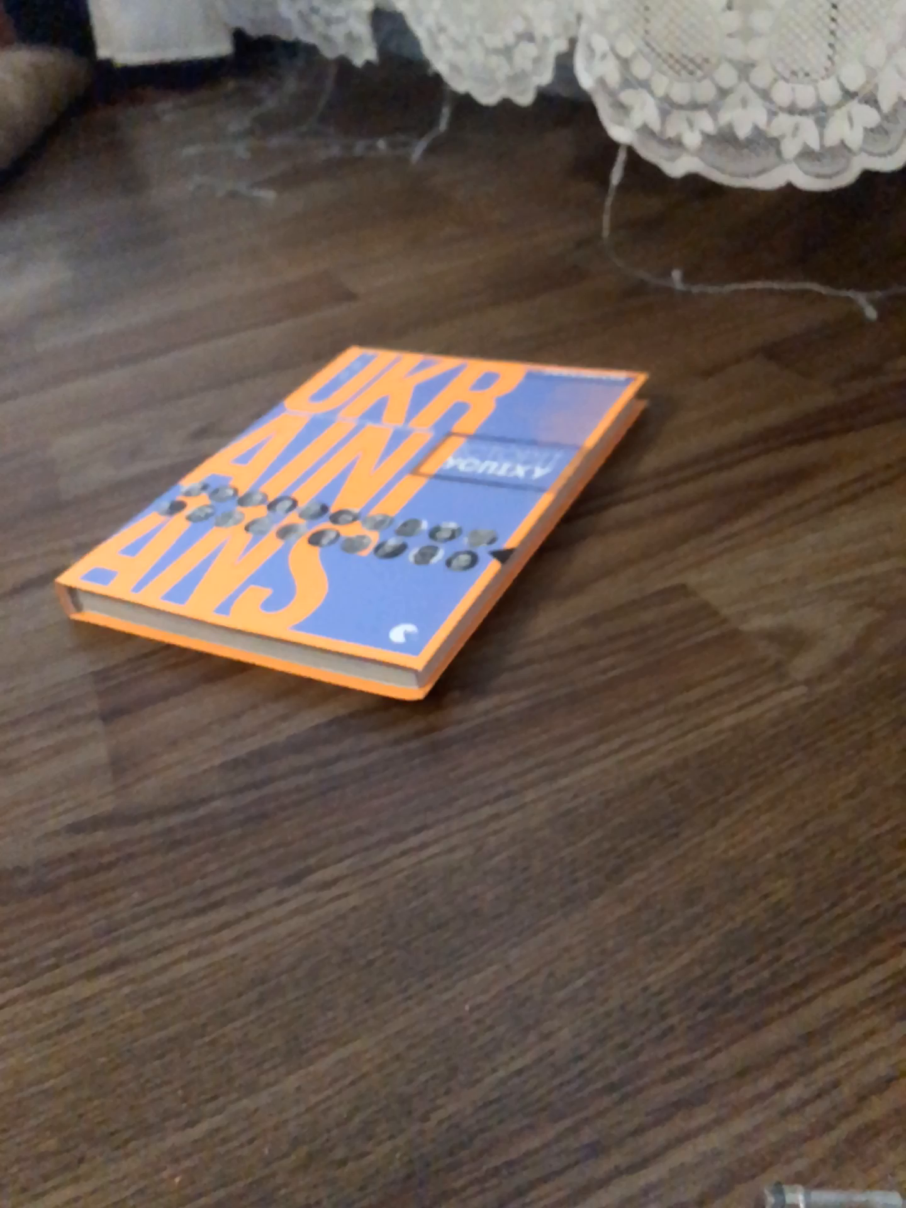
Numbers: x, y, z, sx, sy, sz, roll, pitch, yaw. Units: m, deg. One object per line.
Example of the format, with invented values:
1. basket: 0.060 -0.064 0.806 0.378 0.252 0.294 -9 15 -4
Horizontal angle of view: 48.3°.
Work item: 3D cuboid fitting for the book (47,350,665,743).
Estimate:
1. book: -0.026 -0.044 0.415 0.165 0.020 0.216 12 41 25
